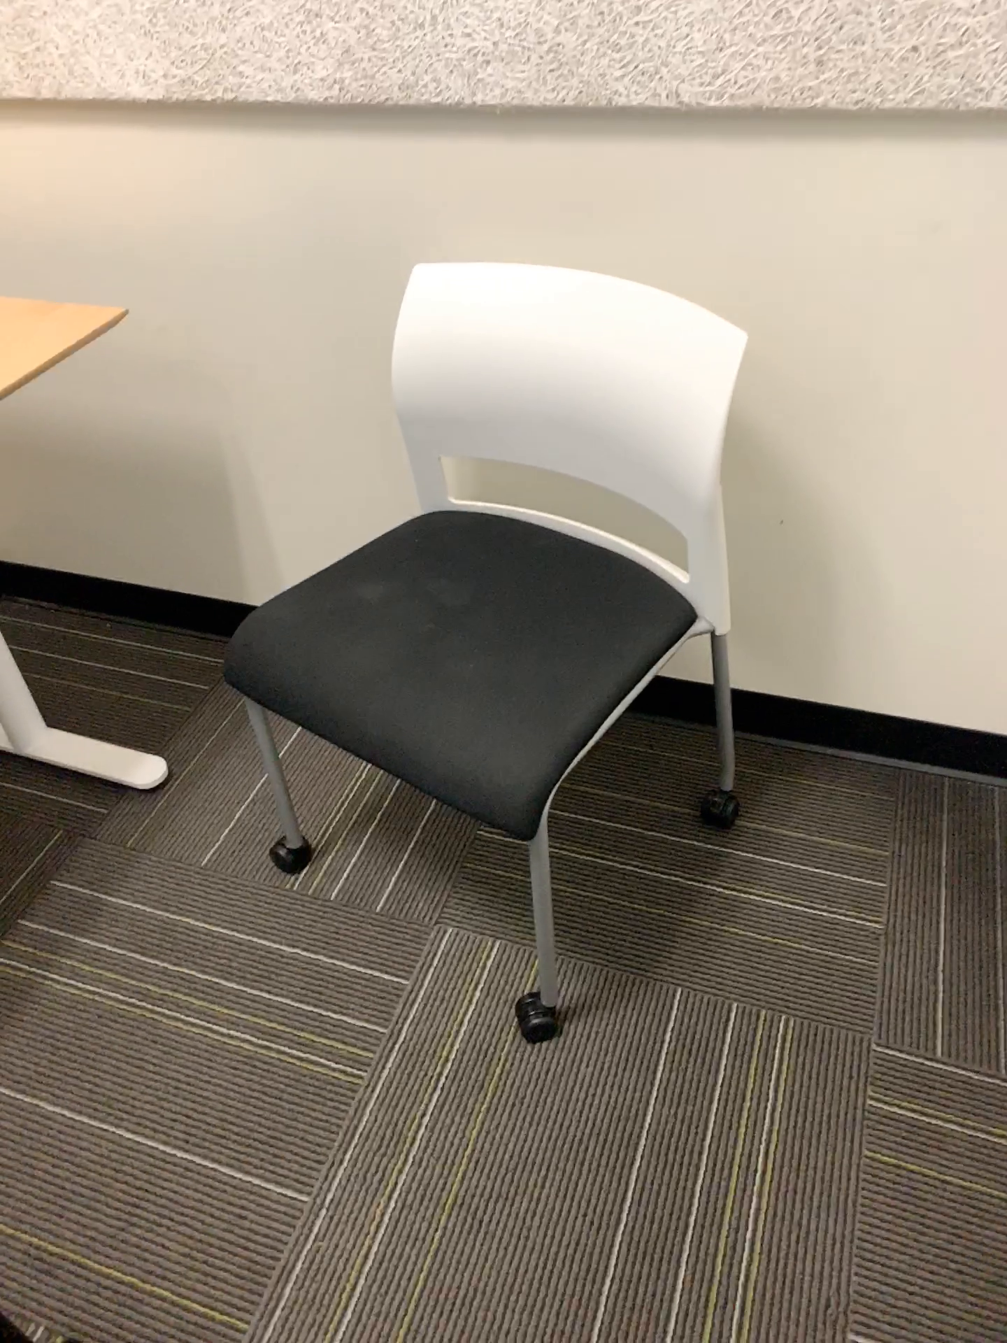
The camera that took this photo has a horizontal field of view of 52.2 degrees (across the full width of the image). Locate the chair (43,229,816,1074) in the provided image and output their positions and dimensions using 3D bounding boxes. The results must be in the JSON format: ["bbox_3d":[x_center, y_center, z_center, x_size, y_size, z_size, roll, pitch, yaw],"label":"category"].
[{"bbox_3d":[-0.043,-0.049,1.288,0.582,0.736,0.541,23,49,29],"label":"chair"}]
